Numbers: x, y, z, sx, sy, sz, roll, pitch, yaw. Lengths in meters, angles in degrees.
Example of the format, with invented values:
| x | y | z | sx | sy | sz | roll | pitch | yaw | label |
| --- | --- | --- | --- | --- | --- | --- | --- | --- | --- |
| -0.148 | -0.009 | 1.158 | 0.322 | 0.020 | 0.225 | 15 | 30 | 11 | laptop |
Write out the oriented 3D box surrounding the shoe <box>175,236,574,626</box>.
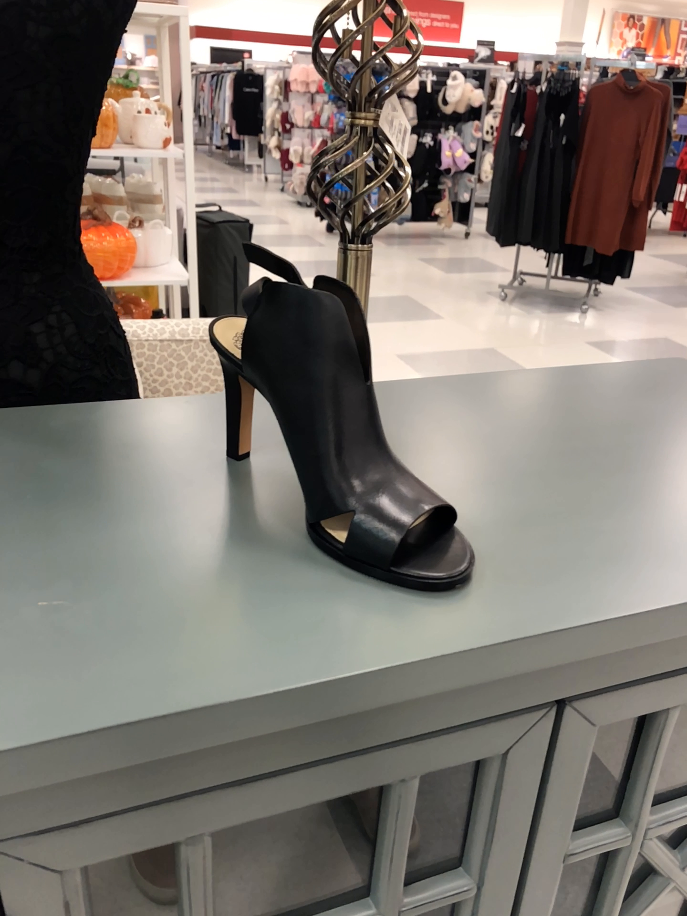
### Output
| x | y | z | sx | sy | sz | roll | pitch | yaw | label |
| --- | --- | --- | --- | --- | --- | --- | --- | --- | --- |
| 0.000 | -0.037 | 0.463 | 0.092 | 0.151 | 0.240 | -17 | 32 | -37 | shoe |
